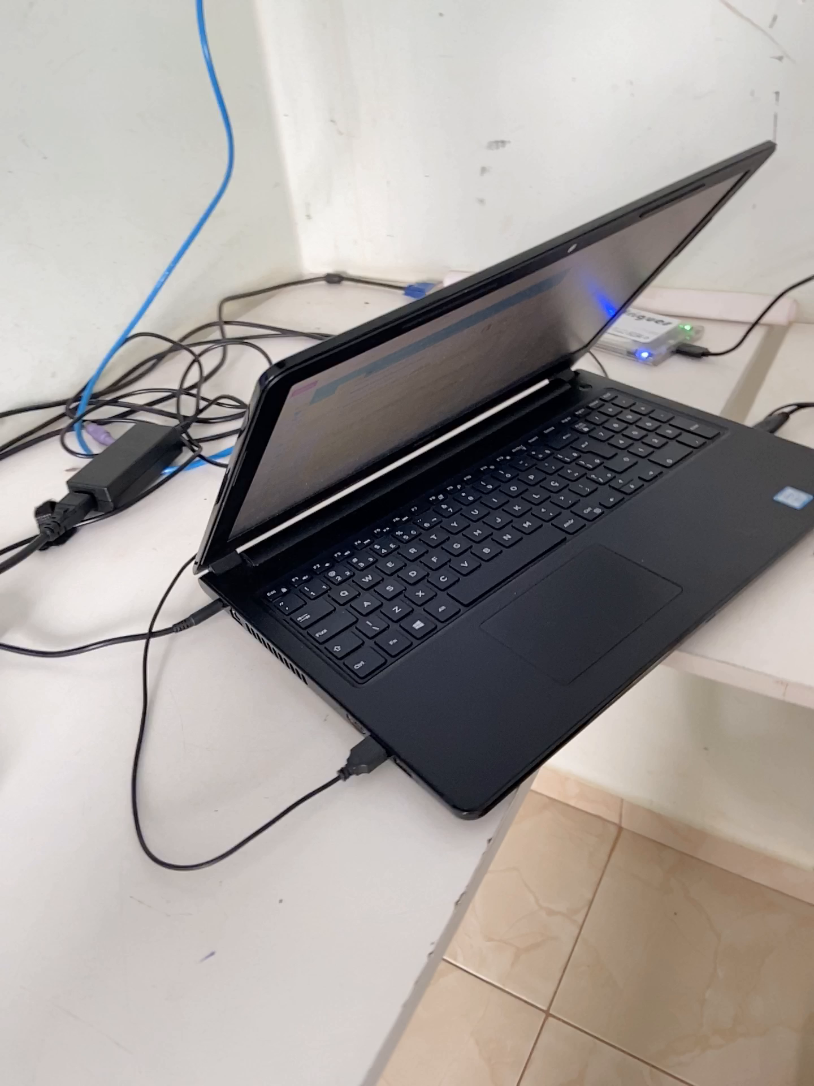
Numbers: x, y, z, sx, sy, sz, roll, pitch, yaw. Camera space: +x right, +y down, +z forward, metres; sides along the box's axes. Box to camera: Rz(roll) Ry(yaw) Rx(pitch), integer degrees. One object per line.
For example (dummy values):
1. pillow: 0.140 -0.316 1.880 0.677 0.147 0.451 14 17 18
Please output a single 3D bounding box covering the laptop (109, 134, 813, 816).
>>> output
1. laptop: 0.075 -0.090 0.499 0.373 0.192 0.256 -31 42 -30
